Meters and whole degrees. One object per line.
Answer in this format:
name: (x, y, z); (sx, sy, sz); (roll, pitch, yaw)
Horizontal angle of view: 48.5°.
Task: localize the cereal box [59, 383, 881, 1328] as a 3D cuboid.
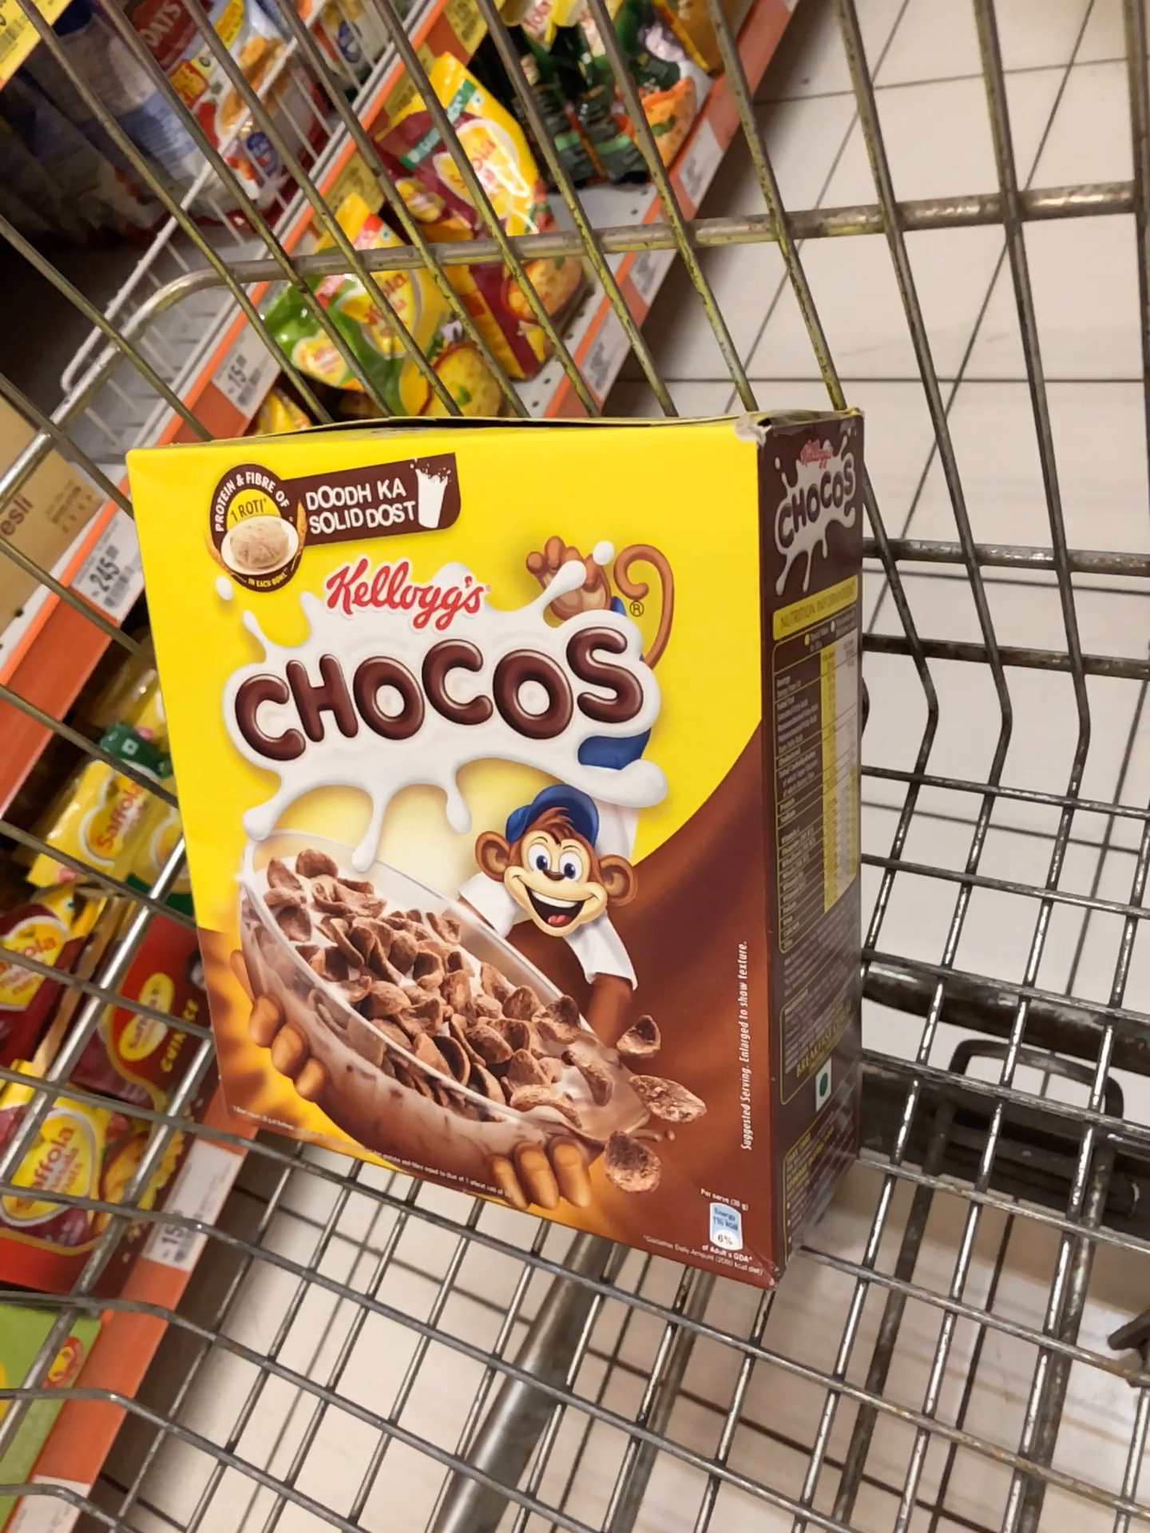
cereal box: (-0.026, 0.010, 0.332); (0.191, 0.070, 0.200); (6, 108, 30)
